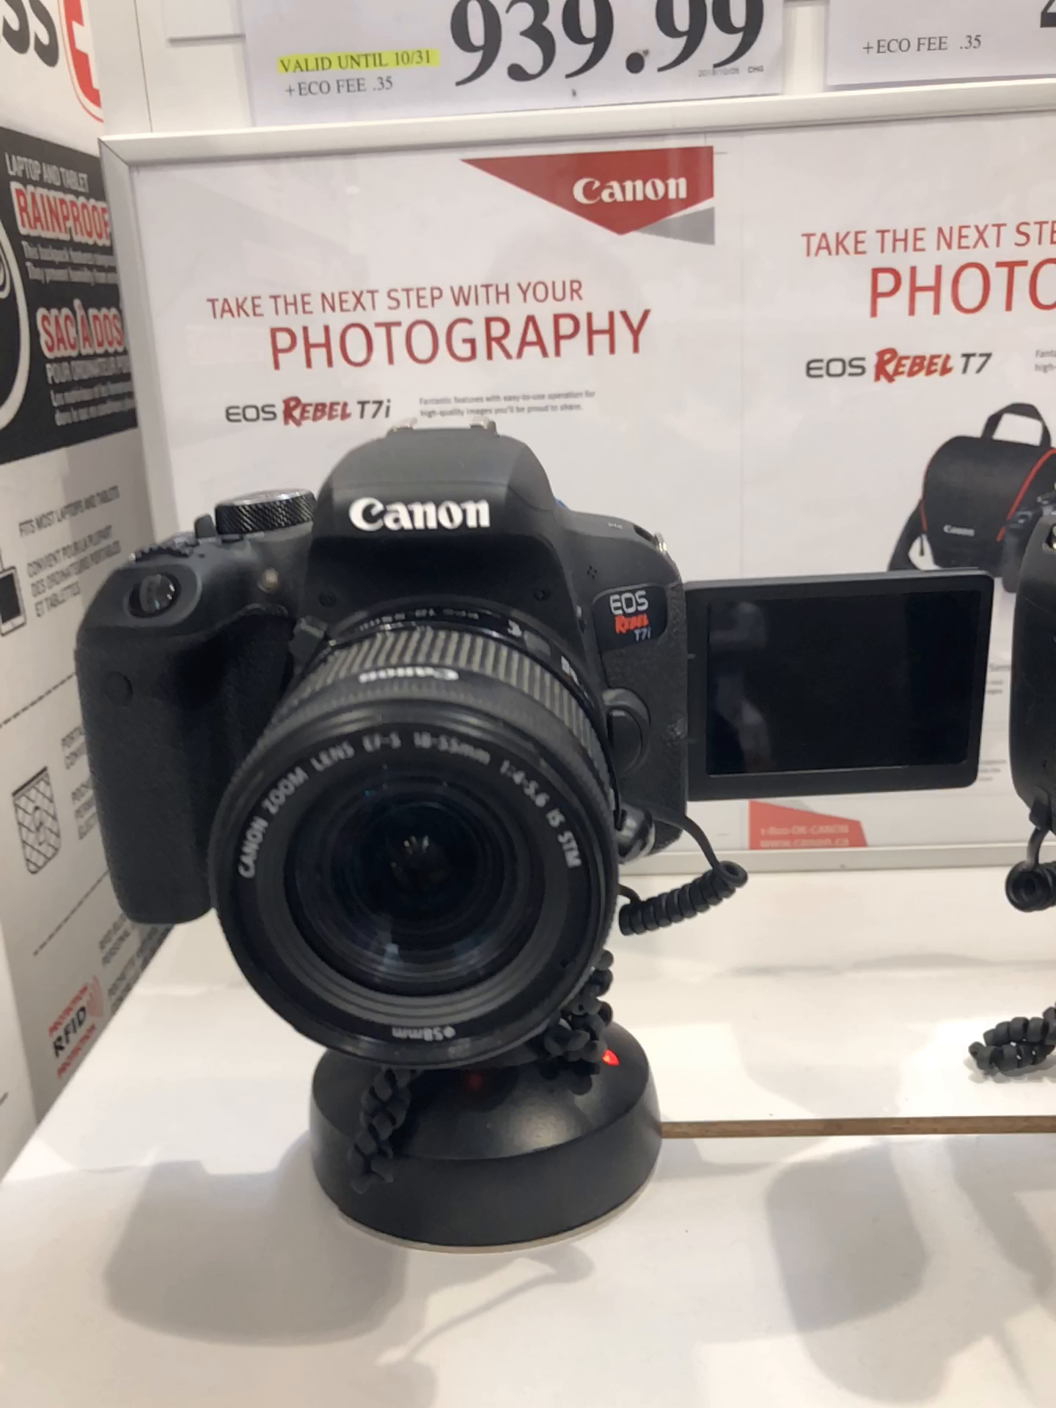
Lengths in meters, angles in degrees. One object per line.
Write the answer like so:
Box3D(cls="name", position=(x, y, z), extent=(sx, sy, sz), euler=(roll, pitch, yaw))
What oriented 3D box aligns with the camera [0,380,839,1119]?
Box3D(cls="camera", position=(-0.026, -0.008, 0.240), extent=(0.140, 0.100, 0.151), euler=(-2, 18, 2))
